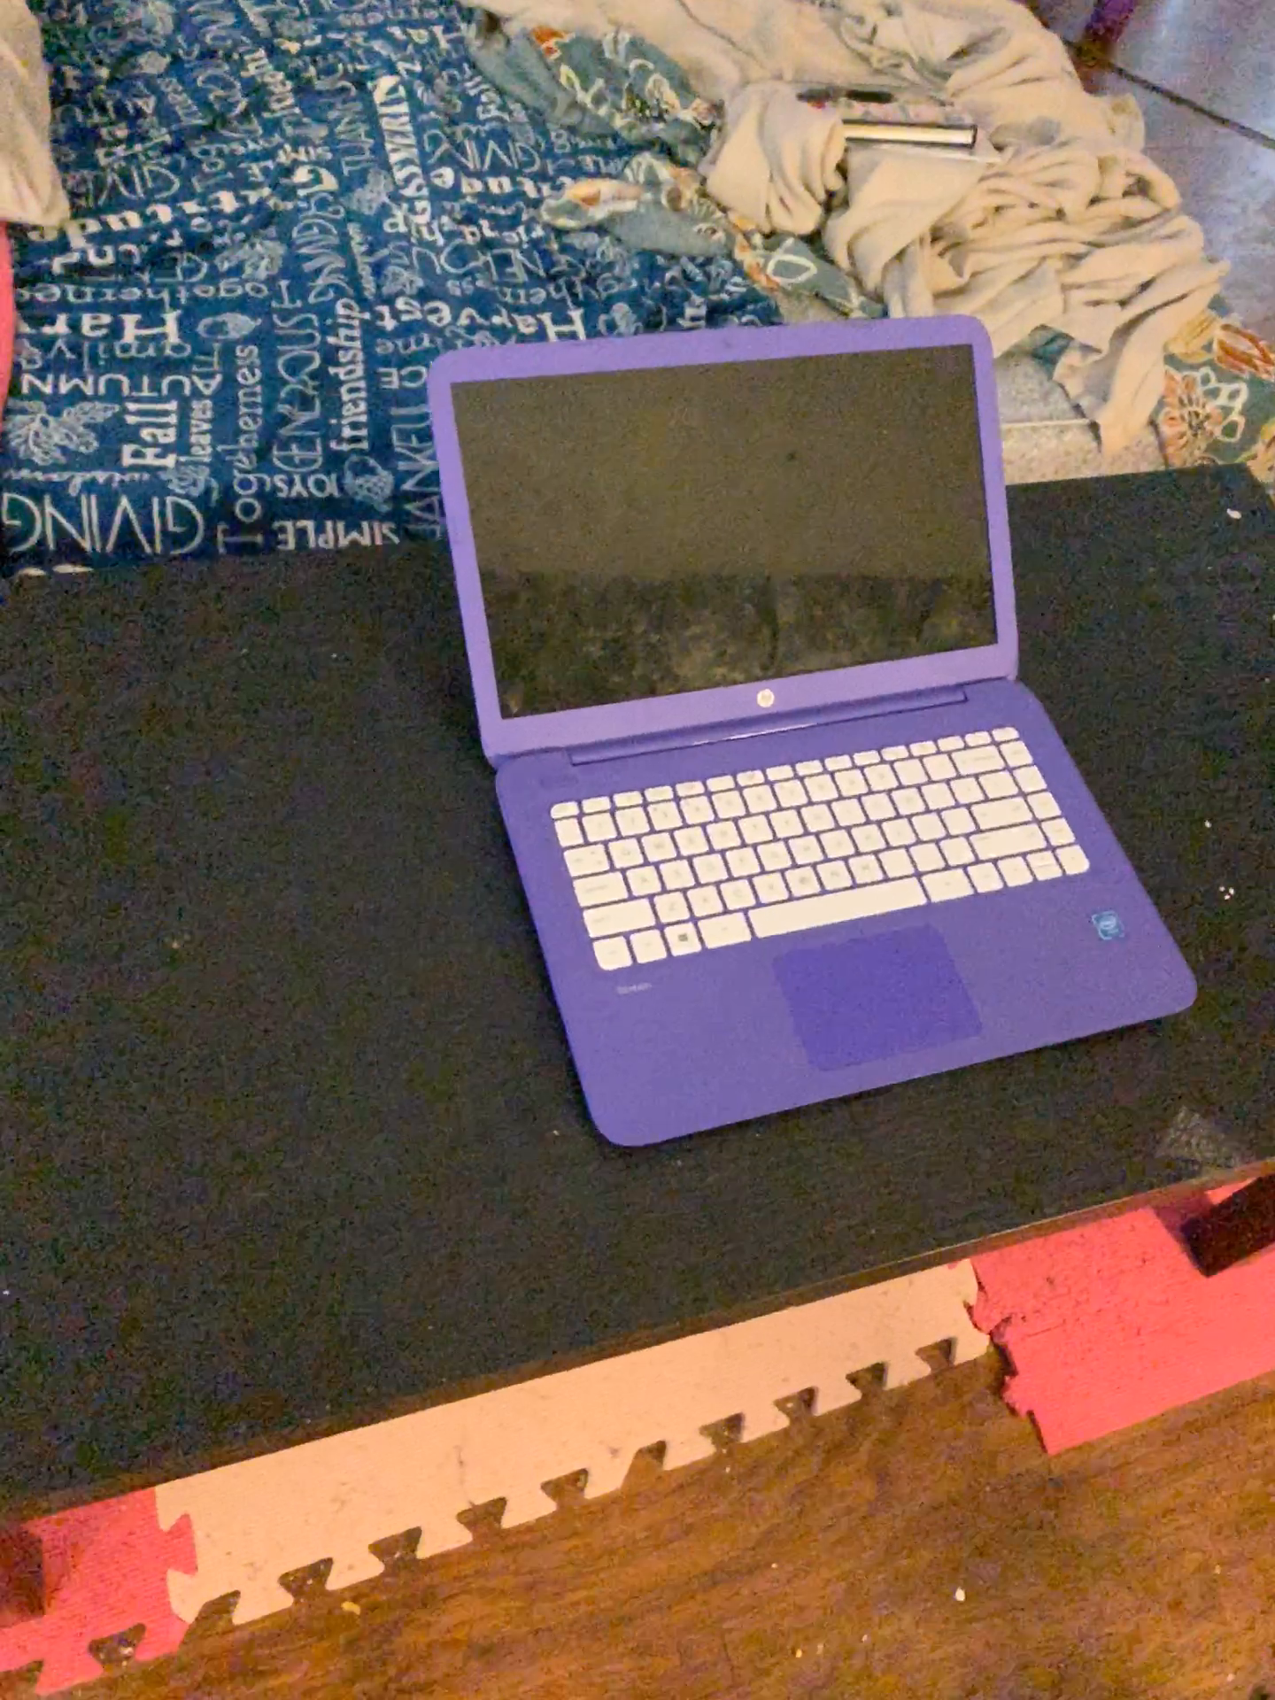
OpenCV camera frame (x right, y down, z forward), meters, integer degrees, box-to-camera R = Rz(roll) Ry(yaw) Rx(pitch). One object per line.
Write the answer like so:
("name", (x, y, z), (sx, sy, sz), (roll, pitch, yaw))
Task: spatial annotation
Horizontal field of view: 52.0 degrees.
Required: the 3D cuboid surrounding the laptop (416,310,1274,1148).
("laptop", (0.093, -0.092, 0.690), (0.340, 0.132, 0.398), (-10, 60, -16))
